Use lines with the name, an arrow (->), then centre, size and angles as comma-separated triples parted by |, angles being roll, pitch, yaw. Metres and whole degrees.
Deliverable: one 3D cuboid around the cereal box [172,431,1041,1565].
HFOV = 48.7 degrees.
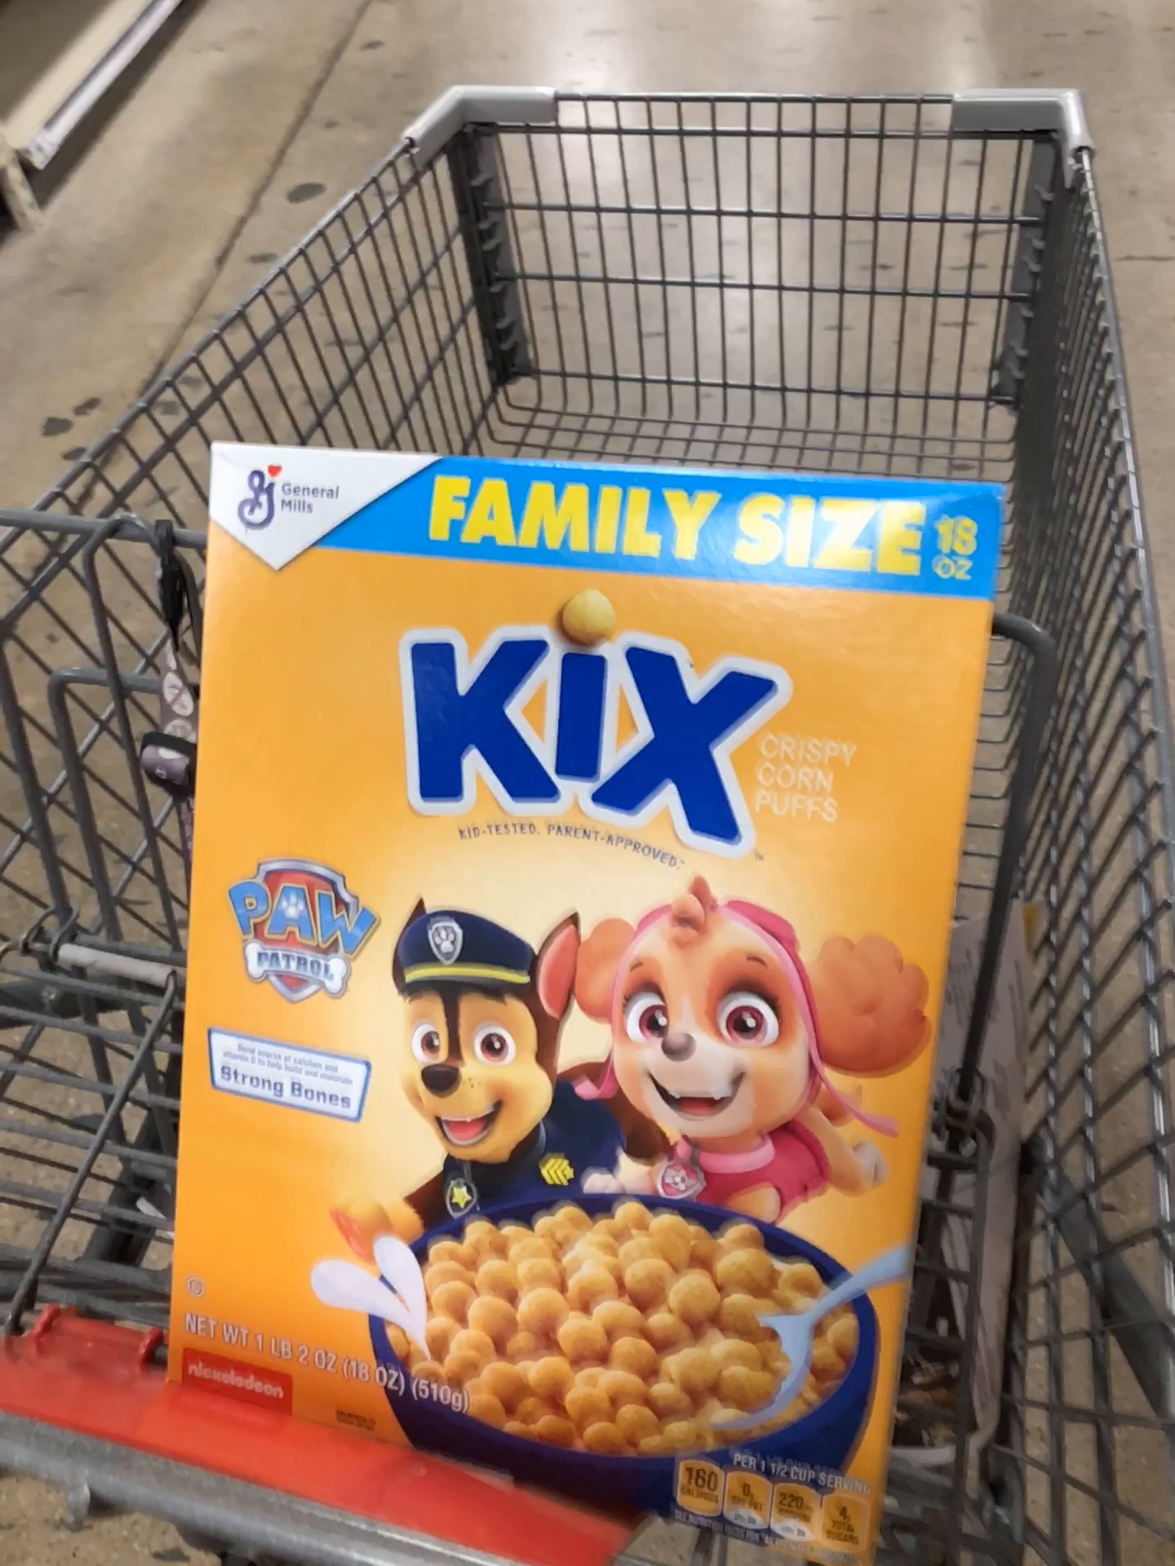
cereal box -> -0.002, 0.062, 0.439 | 0.250, 0.330, 0.090 | 8, 10, 19
